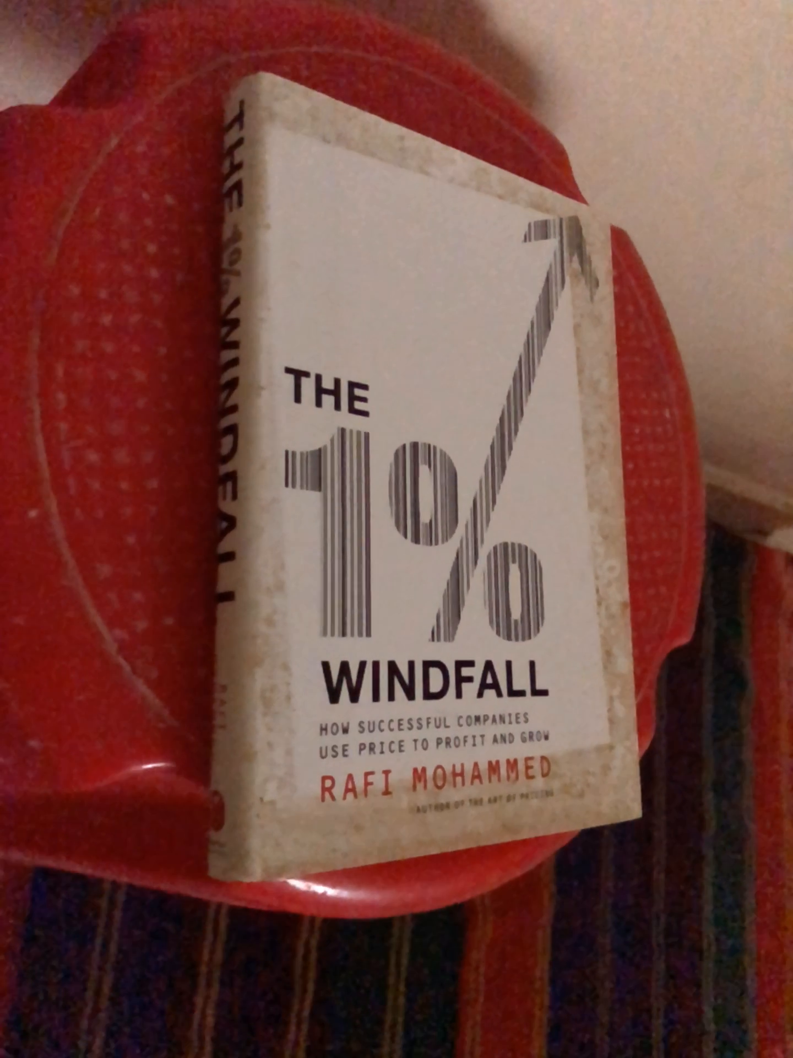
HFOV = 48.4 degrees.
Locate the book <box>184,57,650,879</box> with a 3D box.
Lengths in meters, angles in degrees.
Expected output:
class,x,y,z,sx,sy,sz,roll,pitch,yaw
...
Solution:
class,x,y,z,sx,sy,sz,roll,pitch,yaw
book,0.015,-0.018,0.340,0.181,0.040,0.260,6,78,-35
